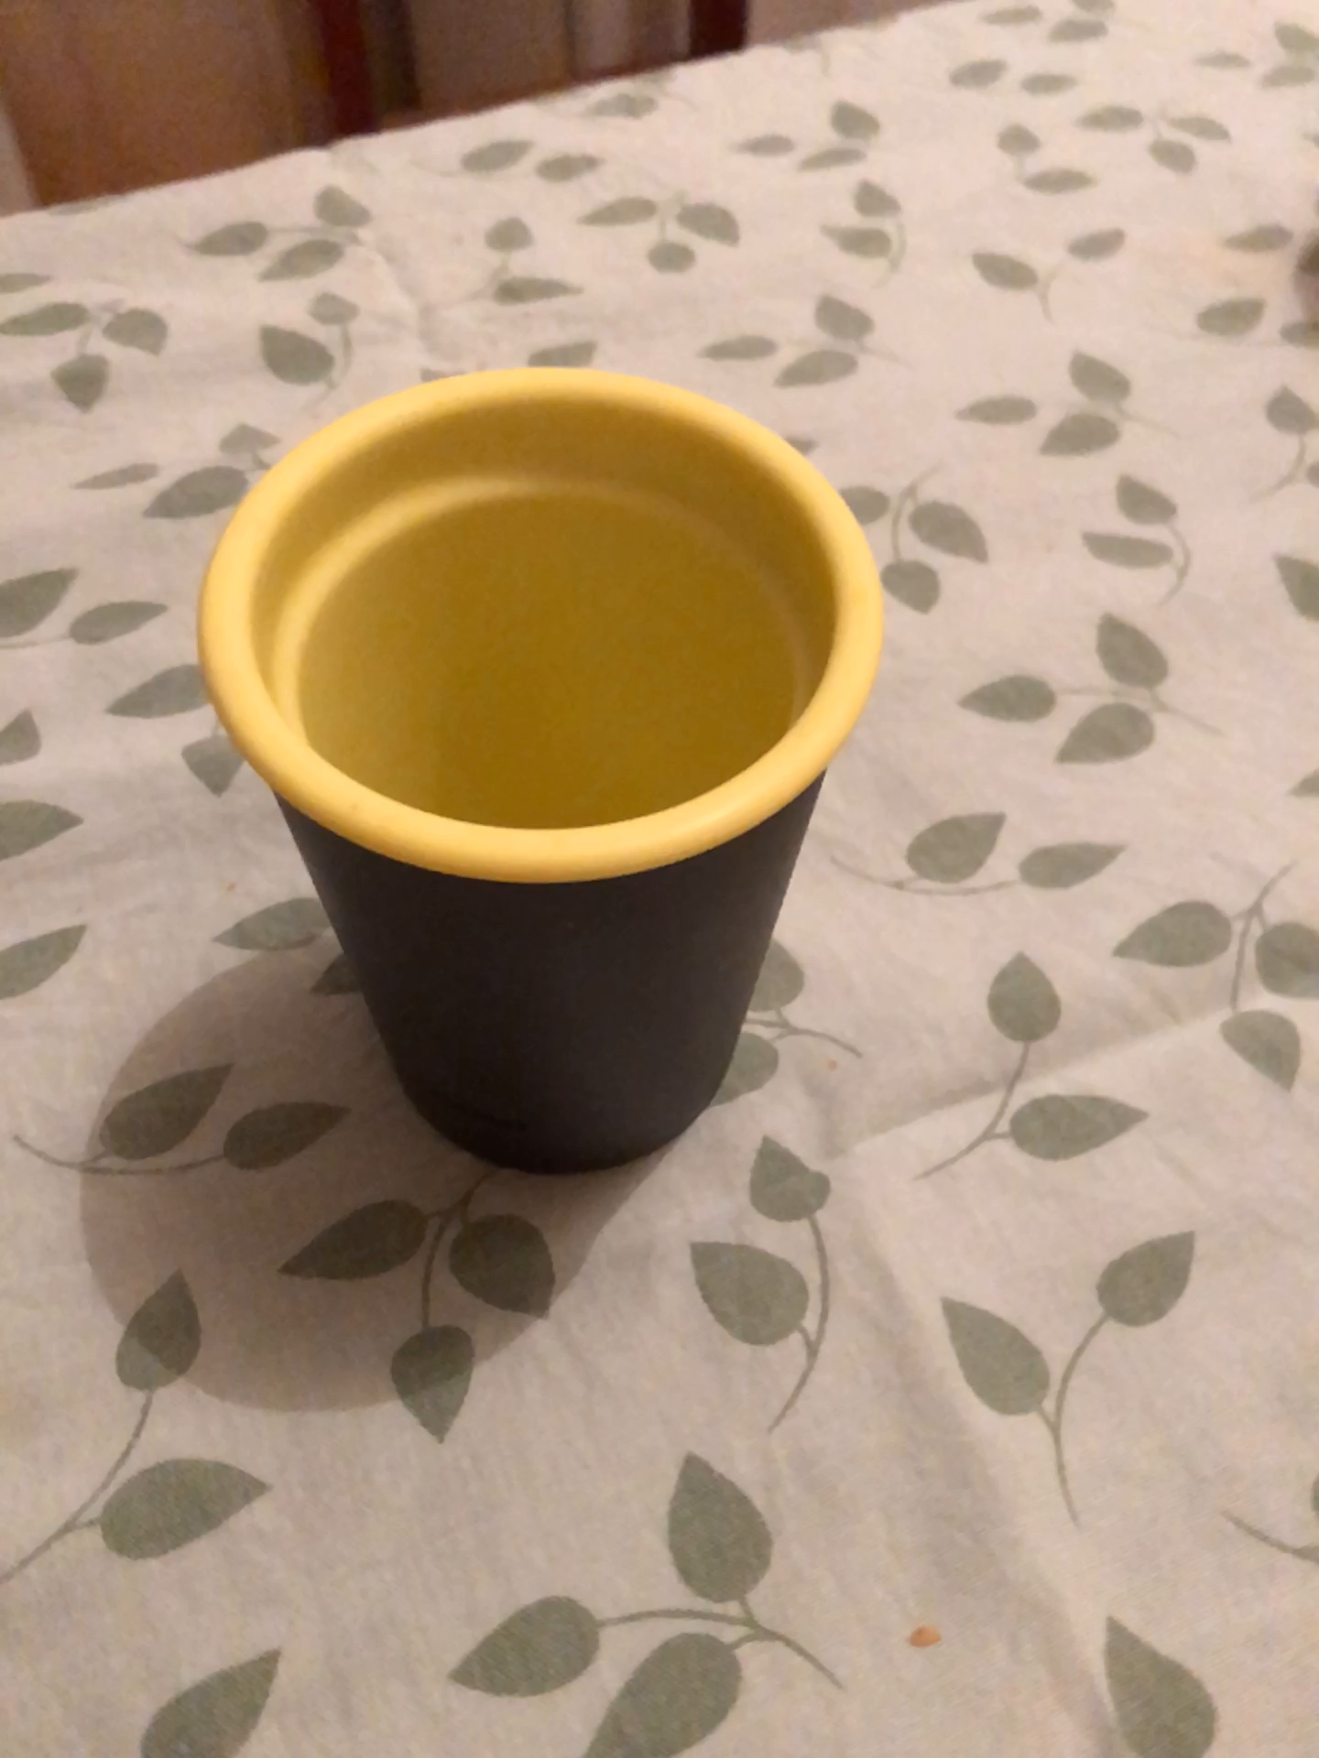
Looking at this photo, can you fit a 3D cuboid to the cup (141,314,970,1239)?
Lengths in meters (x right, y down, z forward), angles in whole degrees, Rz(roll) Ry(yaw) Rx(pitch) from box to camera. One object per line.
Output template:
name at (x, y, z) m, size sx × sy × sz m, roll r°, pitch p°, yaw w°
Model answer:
cup at (-0.017, -0.011, 0.231) m, size 0.090 × 0.109 × 0.090 m, roll 1°, pitch 56°, yaw -1°
